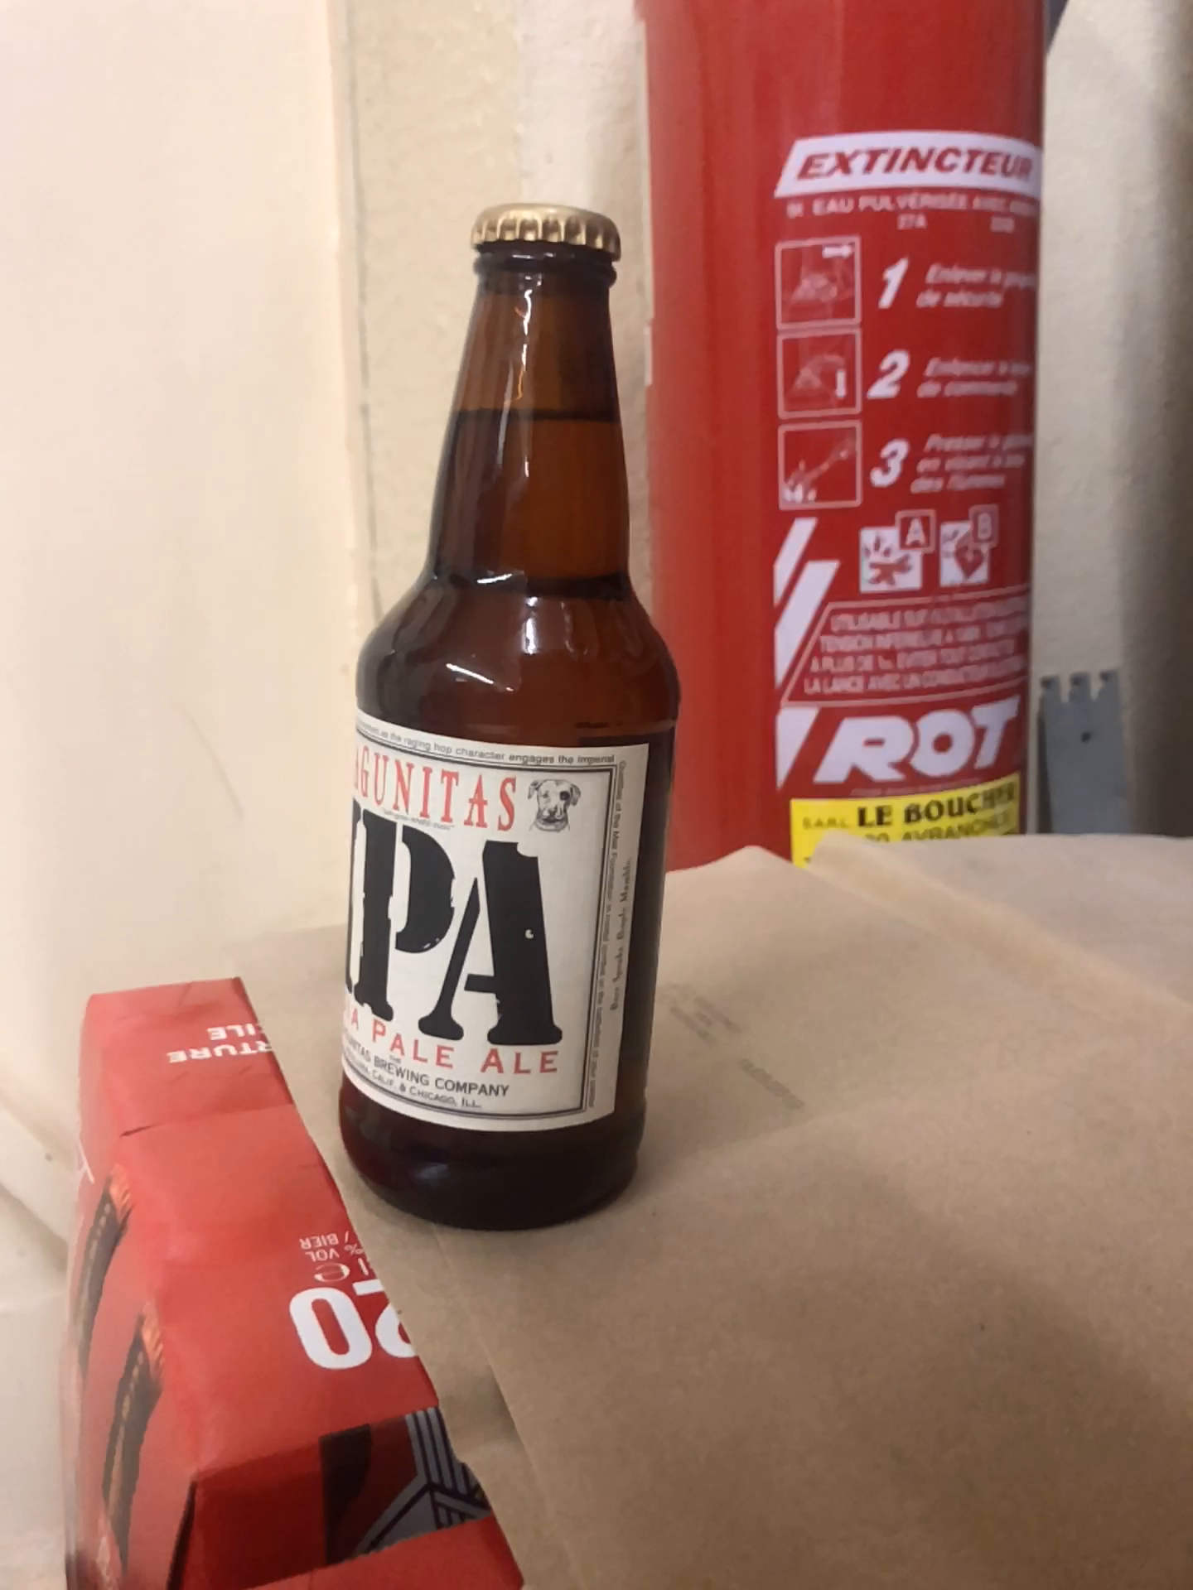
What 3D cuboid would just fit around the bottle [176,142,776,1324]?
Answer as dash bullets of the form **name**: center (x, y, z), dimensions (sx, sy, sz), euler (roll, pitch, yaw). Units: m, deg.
- **bottle**: center (-0.023, -0.014, 0.274), dimensions (0.080, 0.199, 0.080), euler (1, 14, 0)
